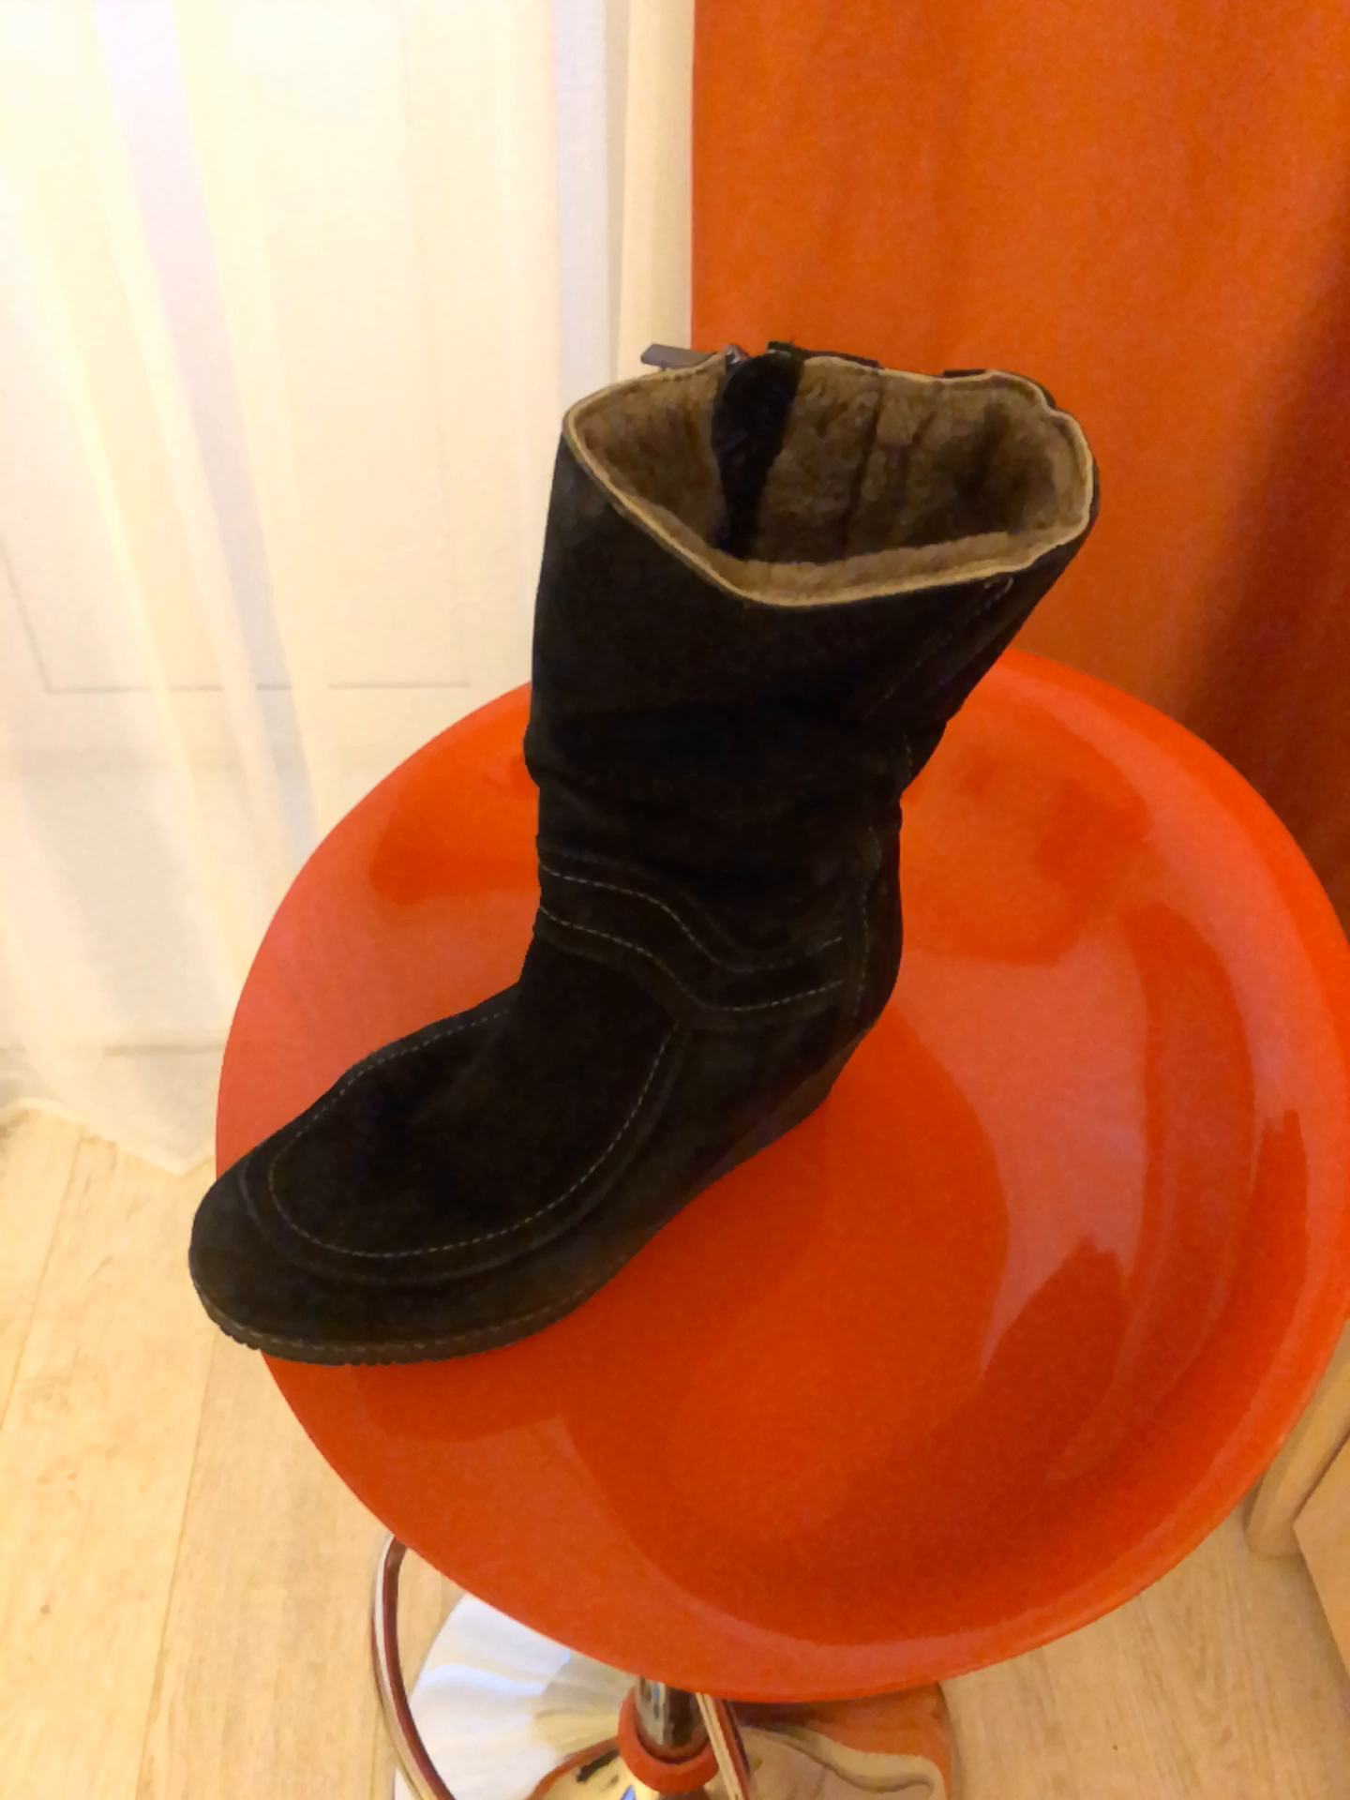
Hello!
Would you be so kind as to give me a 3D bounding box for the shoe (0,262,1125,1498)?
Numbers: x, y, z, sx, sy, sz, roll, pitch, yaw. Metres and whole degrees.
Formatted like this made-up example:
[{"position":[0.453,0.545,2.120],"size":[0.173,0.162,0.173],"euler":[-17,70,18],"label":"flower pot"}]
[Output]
[{"position":[-0.024,-0.008,0.414],"size":[0.261,0.248,0.100],"euler":[-28,49,-28],"label":"shoe"}]
